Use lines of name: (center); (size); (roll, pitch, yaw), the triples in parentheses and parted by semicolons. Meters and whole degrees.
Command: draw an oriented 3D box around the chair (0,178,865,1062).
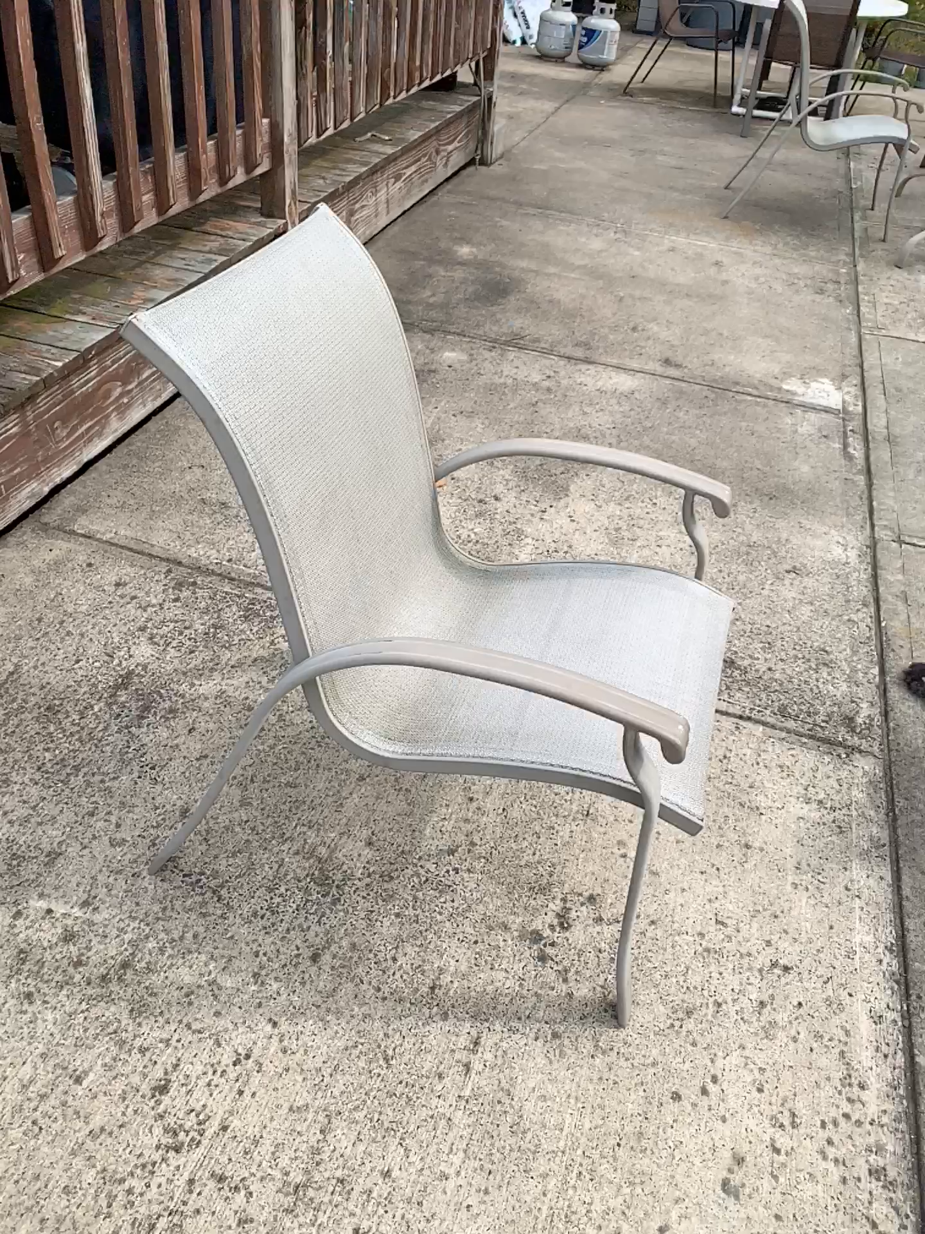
chair: (0.005, -0.022, 1.316); (0.790, 0.845, 0.654); (15, 40, 11)
